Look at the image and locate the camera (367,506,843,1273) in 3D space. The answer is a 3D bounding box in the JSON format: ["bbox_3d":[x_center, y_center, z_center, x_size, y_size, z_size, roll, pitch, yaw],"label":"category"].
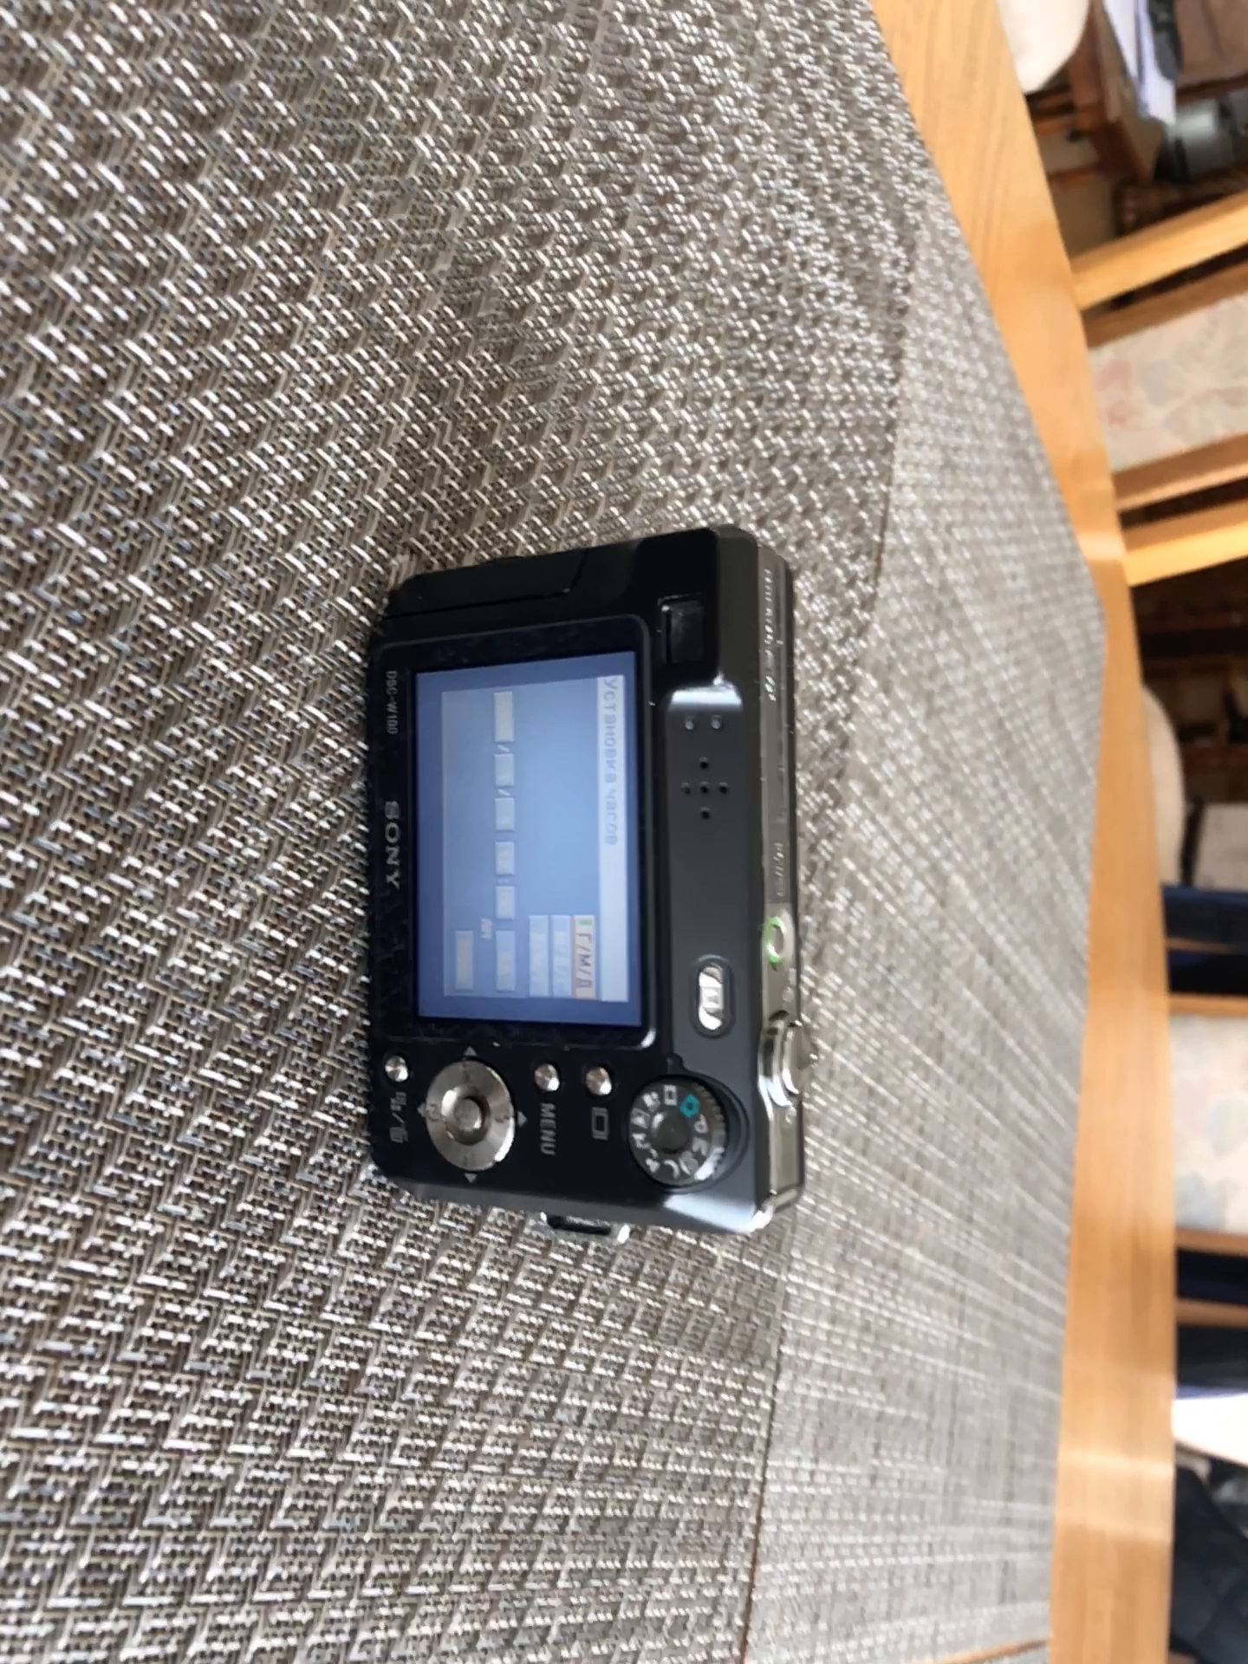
[{"bbox_3d":[-0.002,0.008,0.207,0.049,0.052,0.095,5,84,-59],"label":"camera"}]
